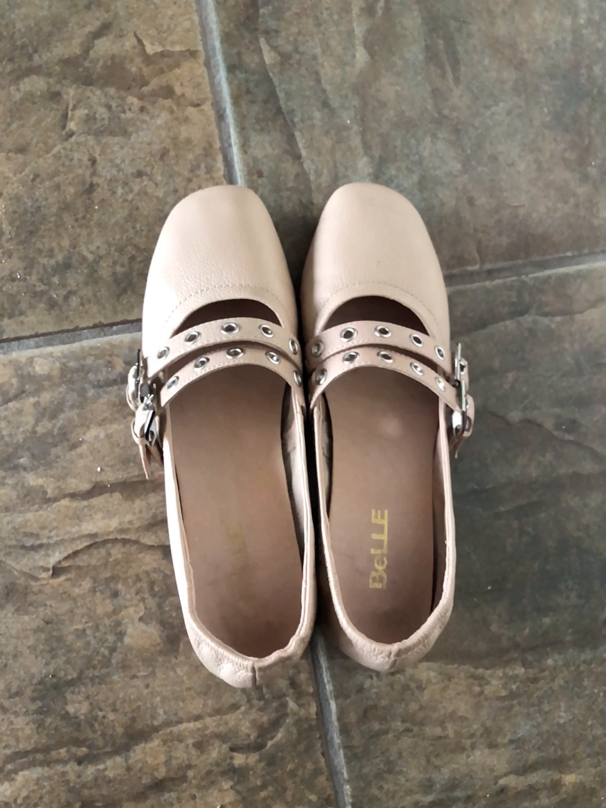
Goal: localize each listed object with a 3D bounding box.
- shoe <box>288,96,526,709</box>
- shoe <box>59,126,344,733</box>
[{"bbox_3d":[0.044,-0.001,0.323,0.090,0.090,0.250,1,87,-7],"label":"shoe"},{"bbox_3d":[-0.048,0.008,0.329,0.100,0.090,0.250,-5,88,-7],"label":"shoe"}]
